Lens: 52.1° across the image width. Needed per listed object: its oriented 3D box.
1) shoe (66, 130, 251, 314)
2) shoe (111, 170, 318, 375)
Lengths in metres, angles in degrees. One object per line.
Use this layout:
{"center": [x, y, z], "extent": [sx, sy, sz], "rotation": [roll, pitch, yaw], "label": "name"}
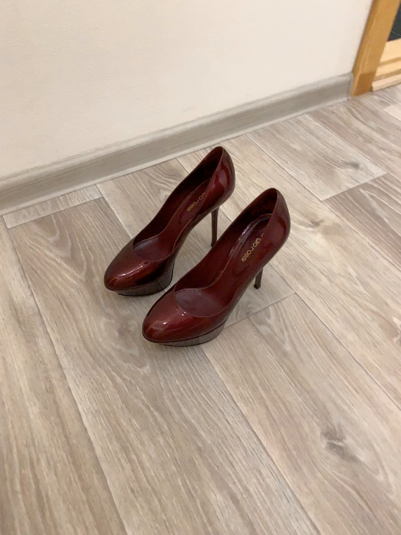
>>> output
{"center": [-0.047, -0.063, 0.549], "extent": [0.210, 0.149, 0.087], "rotation": [-32, 57, -25], "label": "shoe"}
{"center": [0.019, 0.004, 0.490], "extent": [0.210, 0.149, 0.087], "rotation": [-29, 56, -24], "label": "shoe"}
